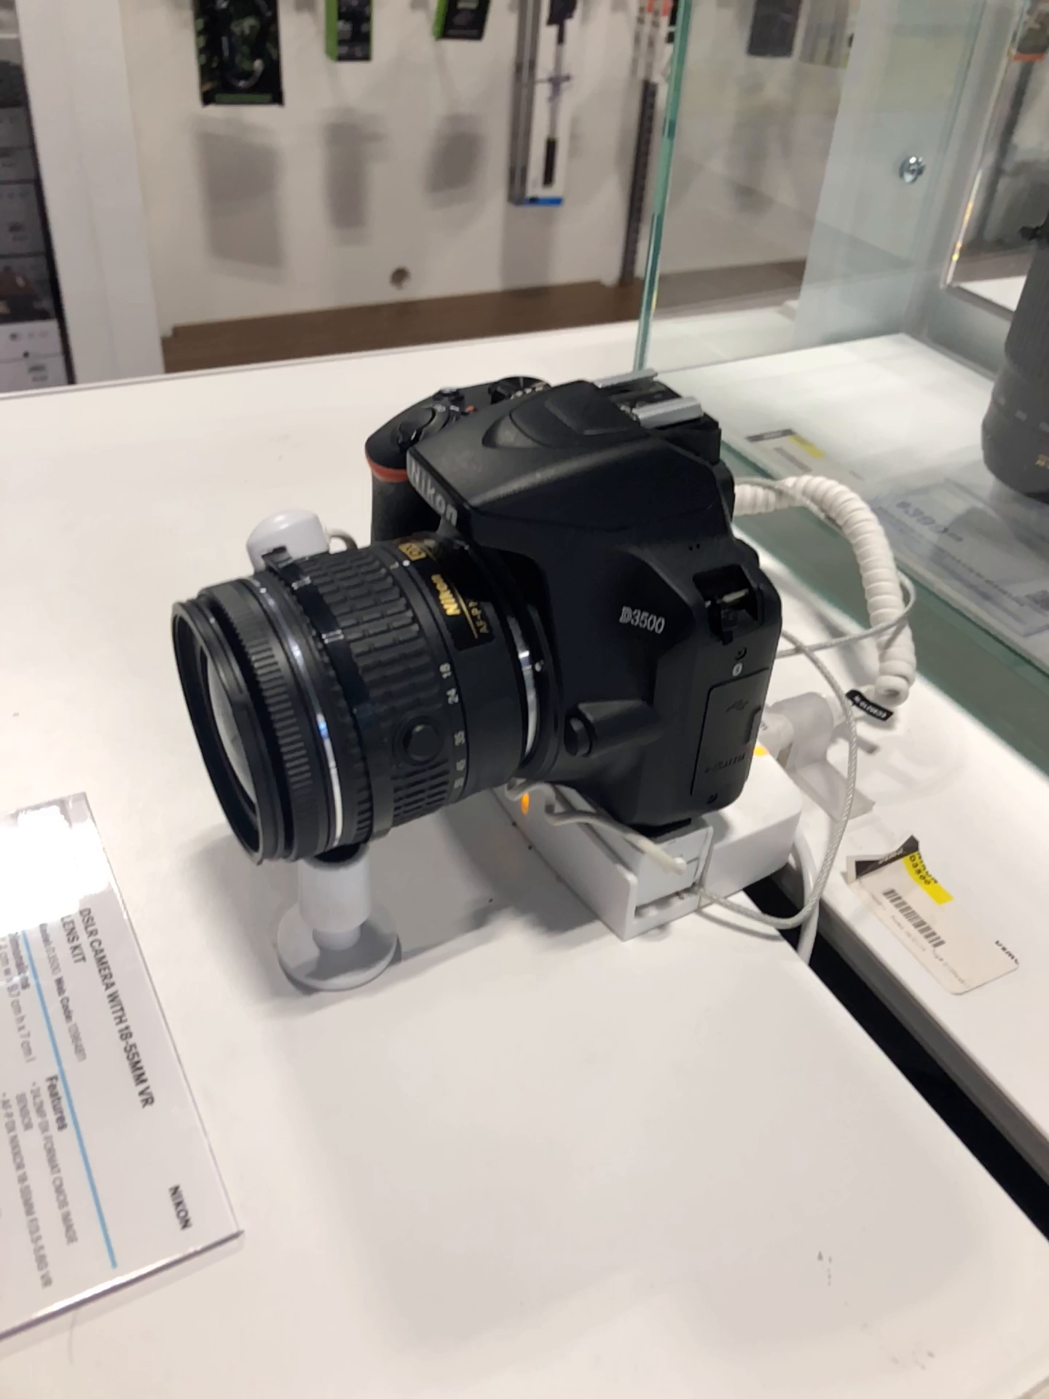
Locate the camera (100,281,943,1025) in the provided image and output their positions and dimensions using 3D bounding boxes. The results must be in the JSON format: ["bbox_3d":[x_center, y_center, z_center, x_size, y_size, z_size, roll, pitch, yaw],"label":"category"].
[{"bbox_3d":[-0.009,-0.025,0.272,0.130,0.089,0.132,-17,43,-26],"label":"camera"}]
